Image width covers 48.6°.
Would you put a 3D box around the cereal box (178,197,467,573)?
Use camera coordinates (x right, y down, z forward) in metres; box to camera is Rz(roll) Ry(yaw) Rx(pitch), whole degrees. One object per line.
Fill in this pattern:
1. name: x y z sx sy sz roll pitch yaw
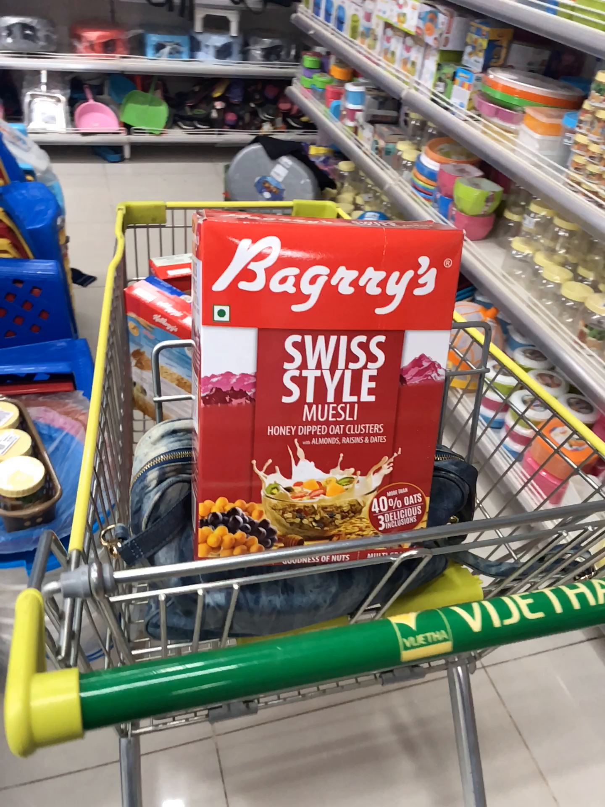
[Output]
1. cereal box: 0.006 -0.014 0.499 0.190 0.259 0.070 -1 16 -10
